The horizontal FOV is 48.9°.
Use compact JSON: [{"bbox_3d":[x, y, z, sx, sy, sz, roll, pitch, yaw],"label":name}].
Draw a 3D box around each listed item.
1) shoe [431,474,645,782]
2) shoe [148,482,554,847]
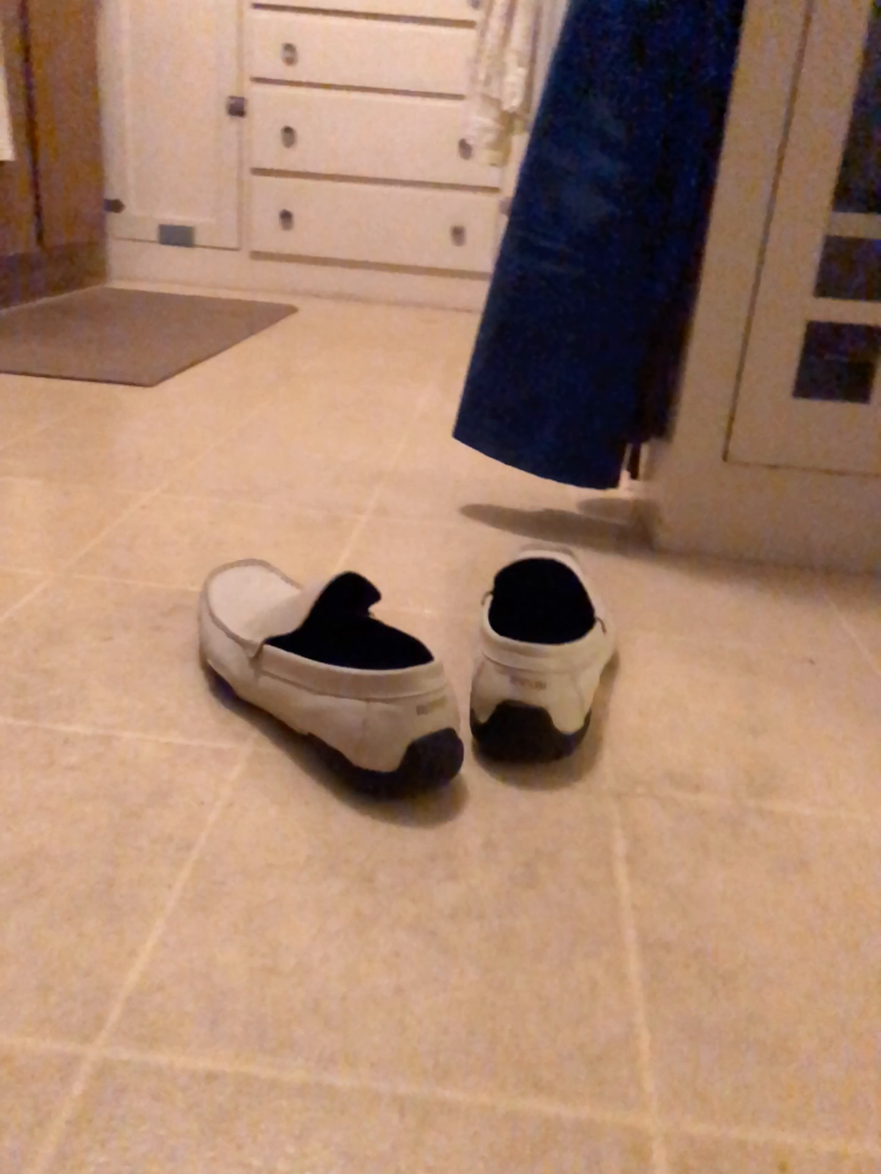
[{"bbox_3d":[0.082,0.010,0.701,0.110,0.097,0.291,9,23,10],"label":"shoe"},{"bbox_3d":[-0.077,0.027,0.632,0.111,0.097,0.307,-12,28,-35],"label":"shoe"}]
